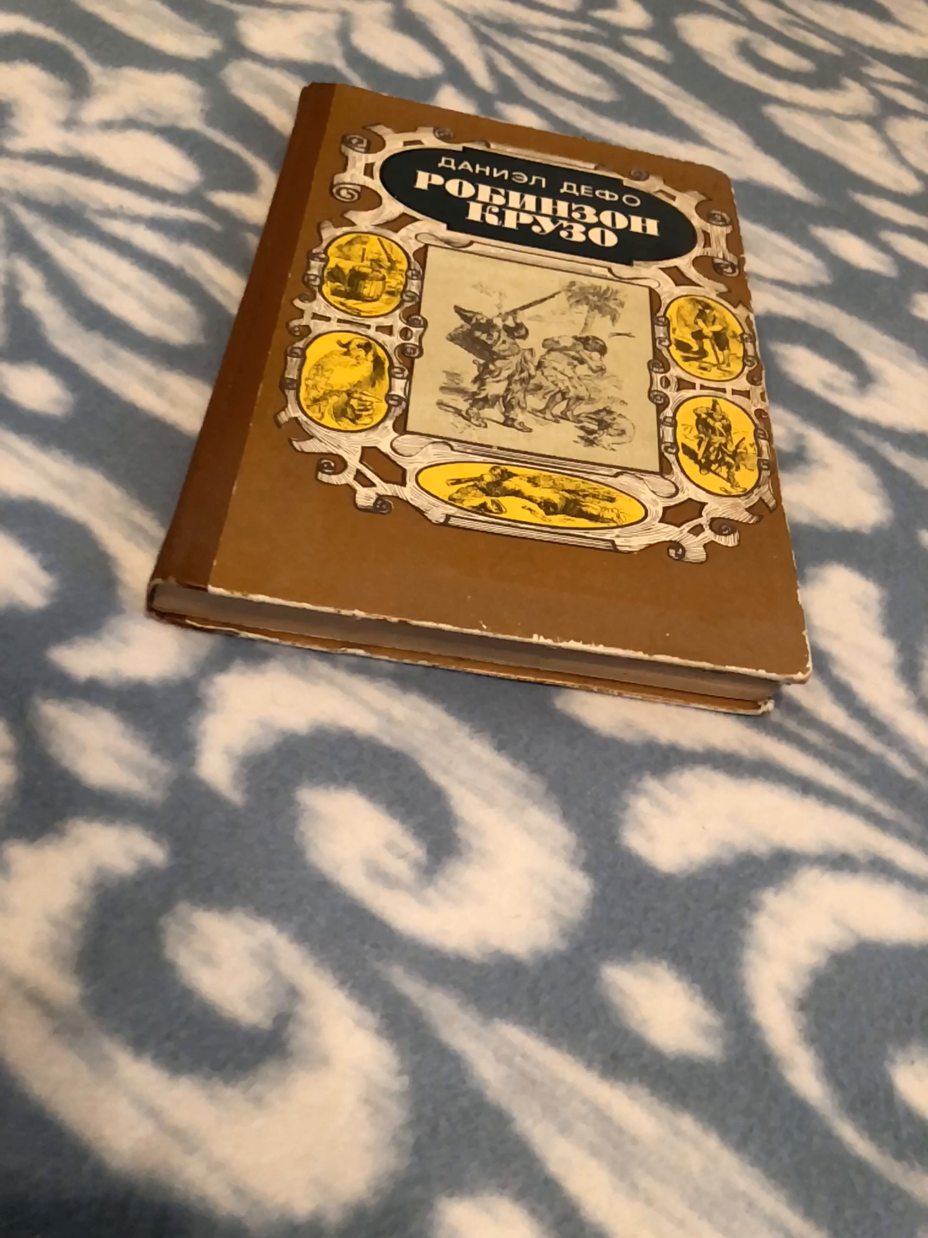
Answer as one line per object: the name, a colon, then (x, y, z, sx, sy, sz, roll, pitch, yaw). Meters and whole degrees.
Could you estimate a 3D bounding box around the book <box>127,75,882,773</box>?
book: (0.019, -0.079, 0.319, 0.178, 0.024, 0.243, 9, 54, -5)
